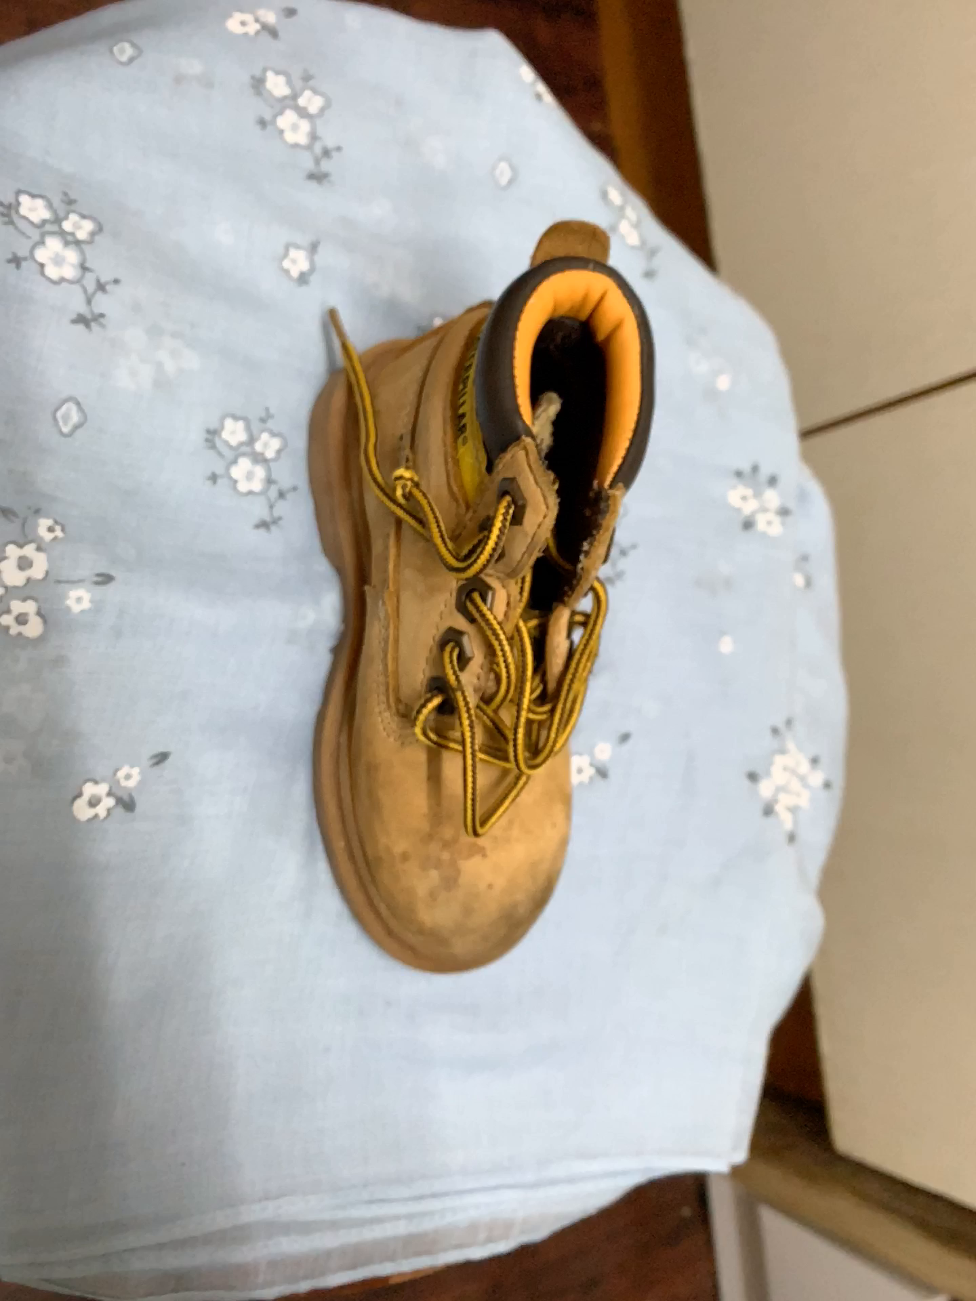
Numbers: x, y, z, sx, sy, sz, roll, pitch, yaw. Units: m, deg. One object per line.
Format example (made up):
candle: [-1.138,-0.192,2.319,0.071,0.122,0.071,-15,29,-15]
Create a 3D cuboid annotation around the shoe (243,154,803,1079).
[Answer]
shoe: [0.001,-0.006,0.284,0.096,0.119,0.190,-1,86,-30]
